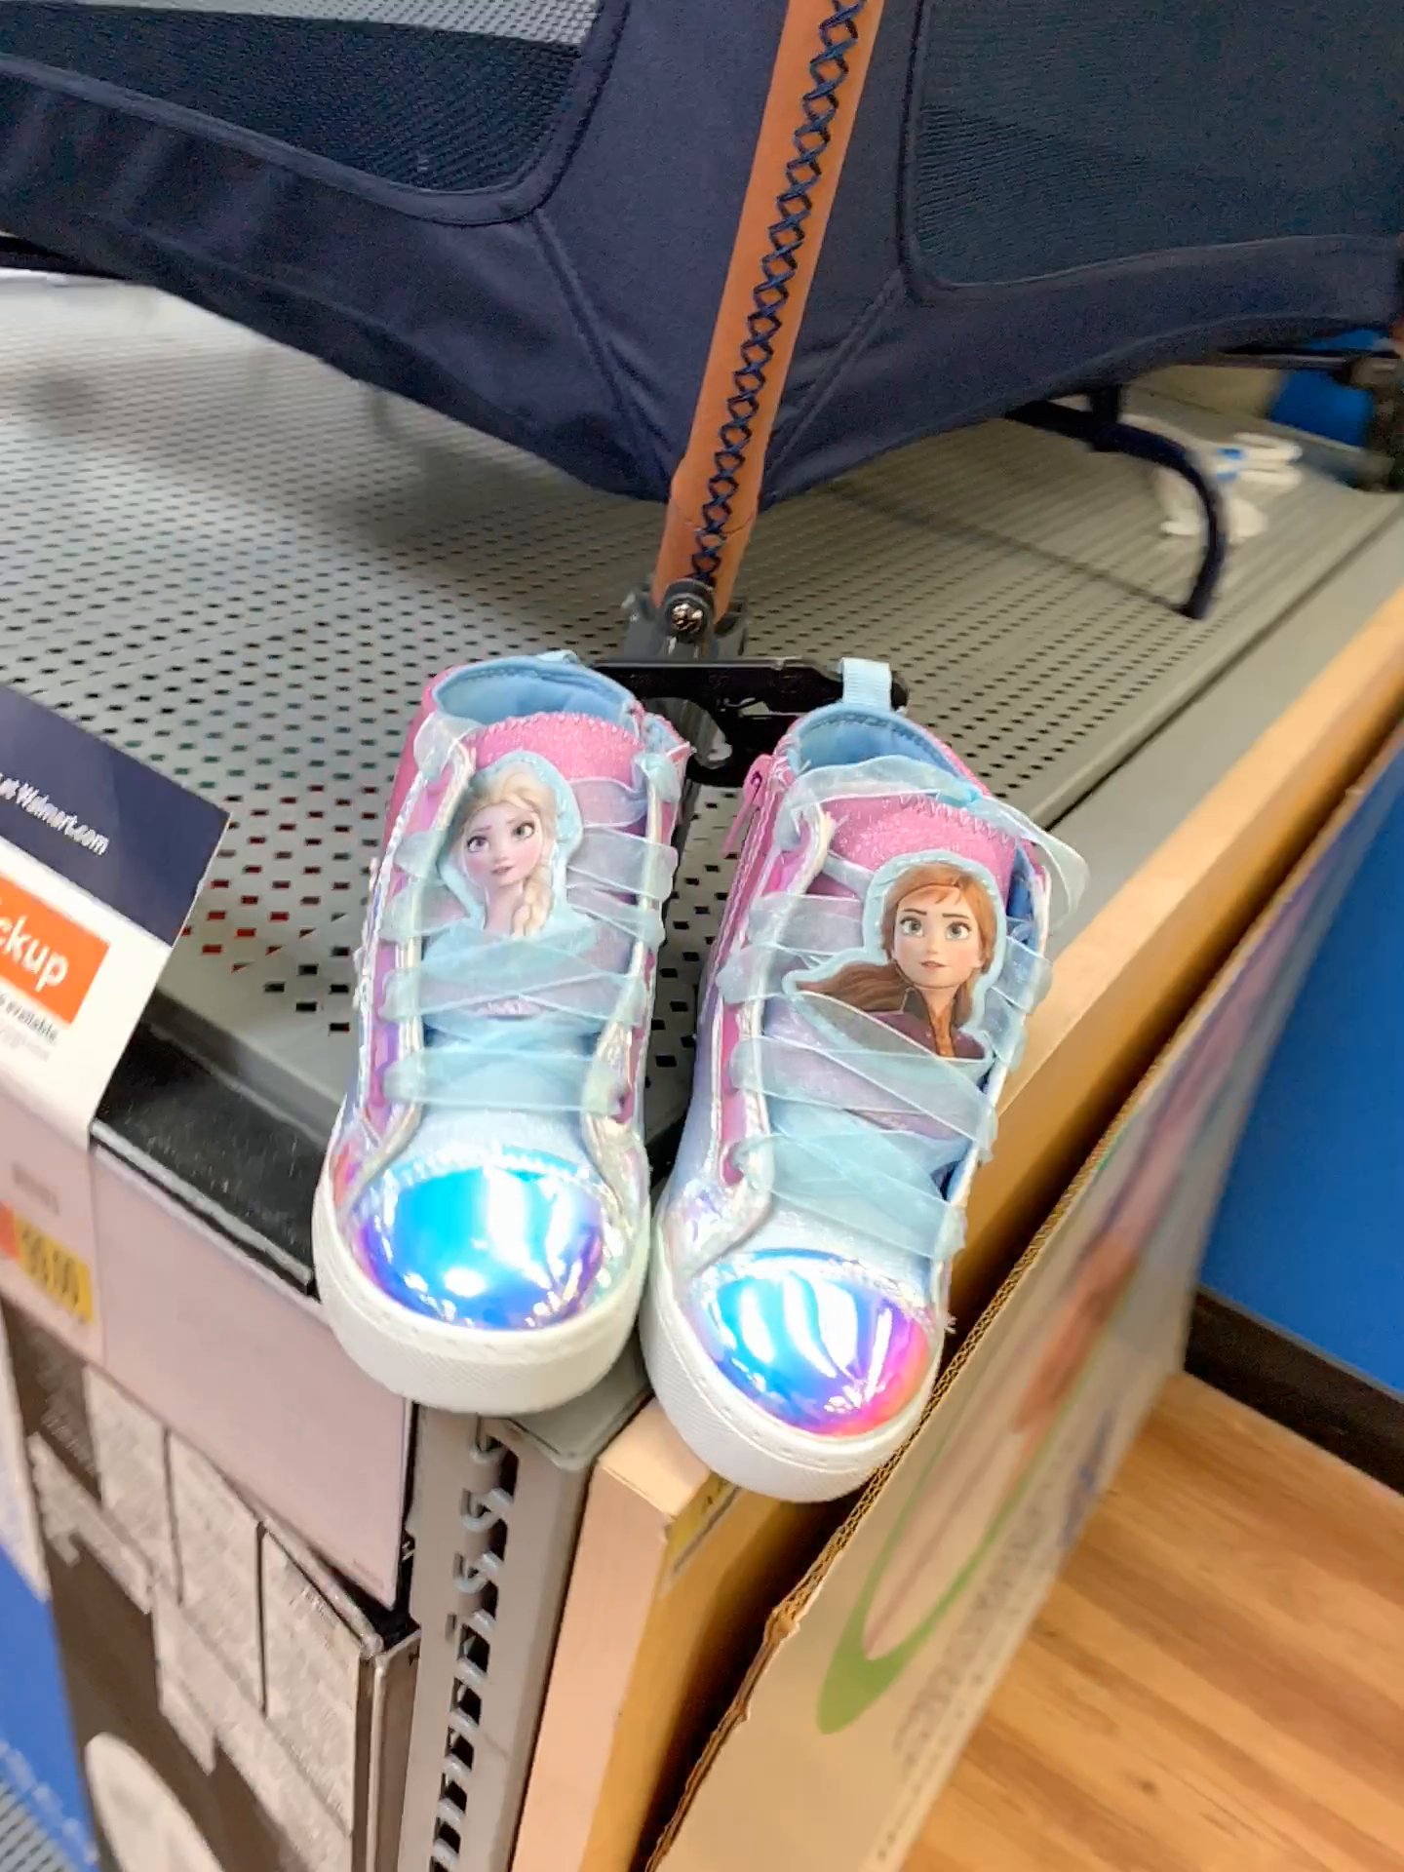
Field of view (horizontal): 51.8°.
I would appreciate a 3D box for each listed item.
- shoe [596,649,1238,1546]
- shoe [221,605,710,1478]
[{"bbox_3d":[0.036,0.026,0.345,0.089,0.102,0.183,13,34,-8],"label":"shoe"},{"bbox_3d":[-0.047,0.012,0.339,0.079,0.102,0.183,8,34,-6],"label":"shoe"}]
